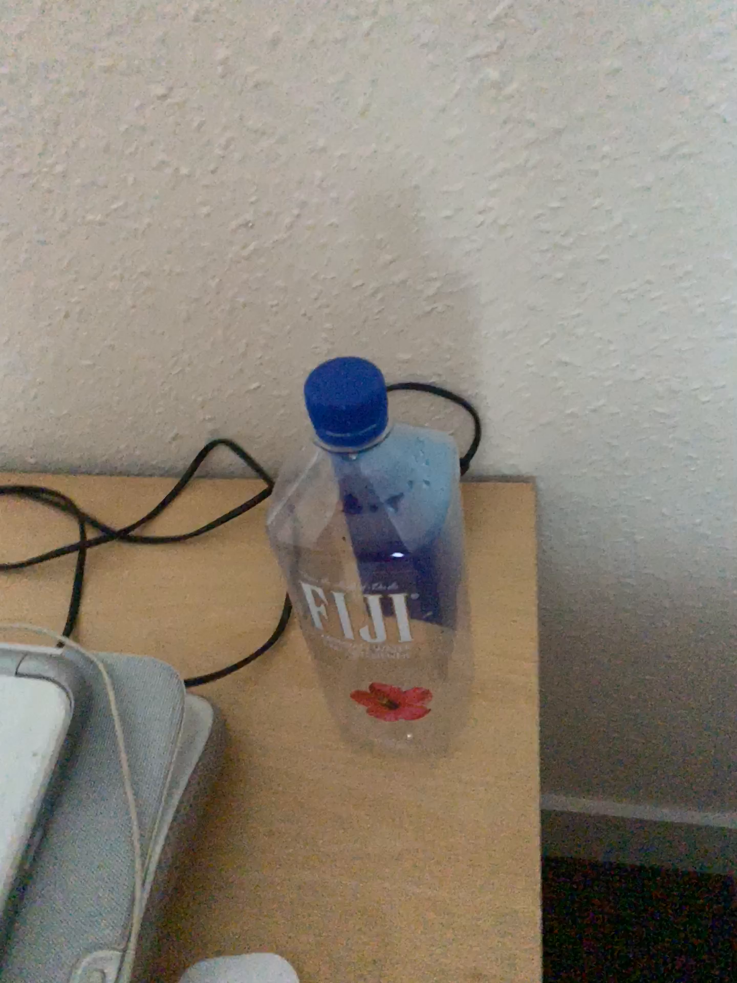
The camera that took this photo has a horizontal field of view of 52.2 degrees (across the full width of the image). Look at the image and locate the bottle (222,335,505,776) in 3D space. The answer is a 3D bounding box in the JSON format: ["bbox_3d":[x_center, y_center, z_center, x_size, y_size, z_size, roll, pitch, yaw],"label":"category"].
[{"bbox_3d":[0.012,0.040,0.345,0.090,0.208,0.081,3,46,11],"label":"bottle"}]
